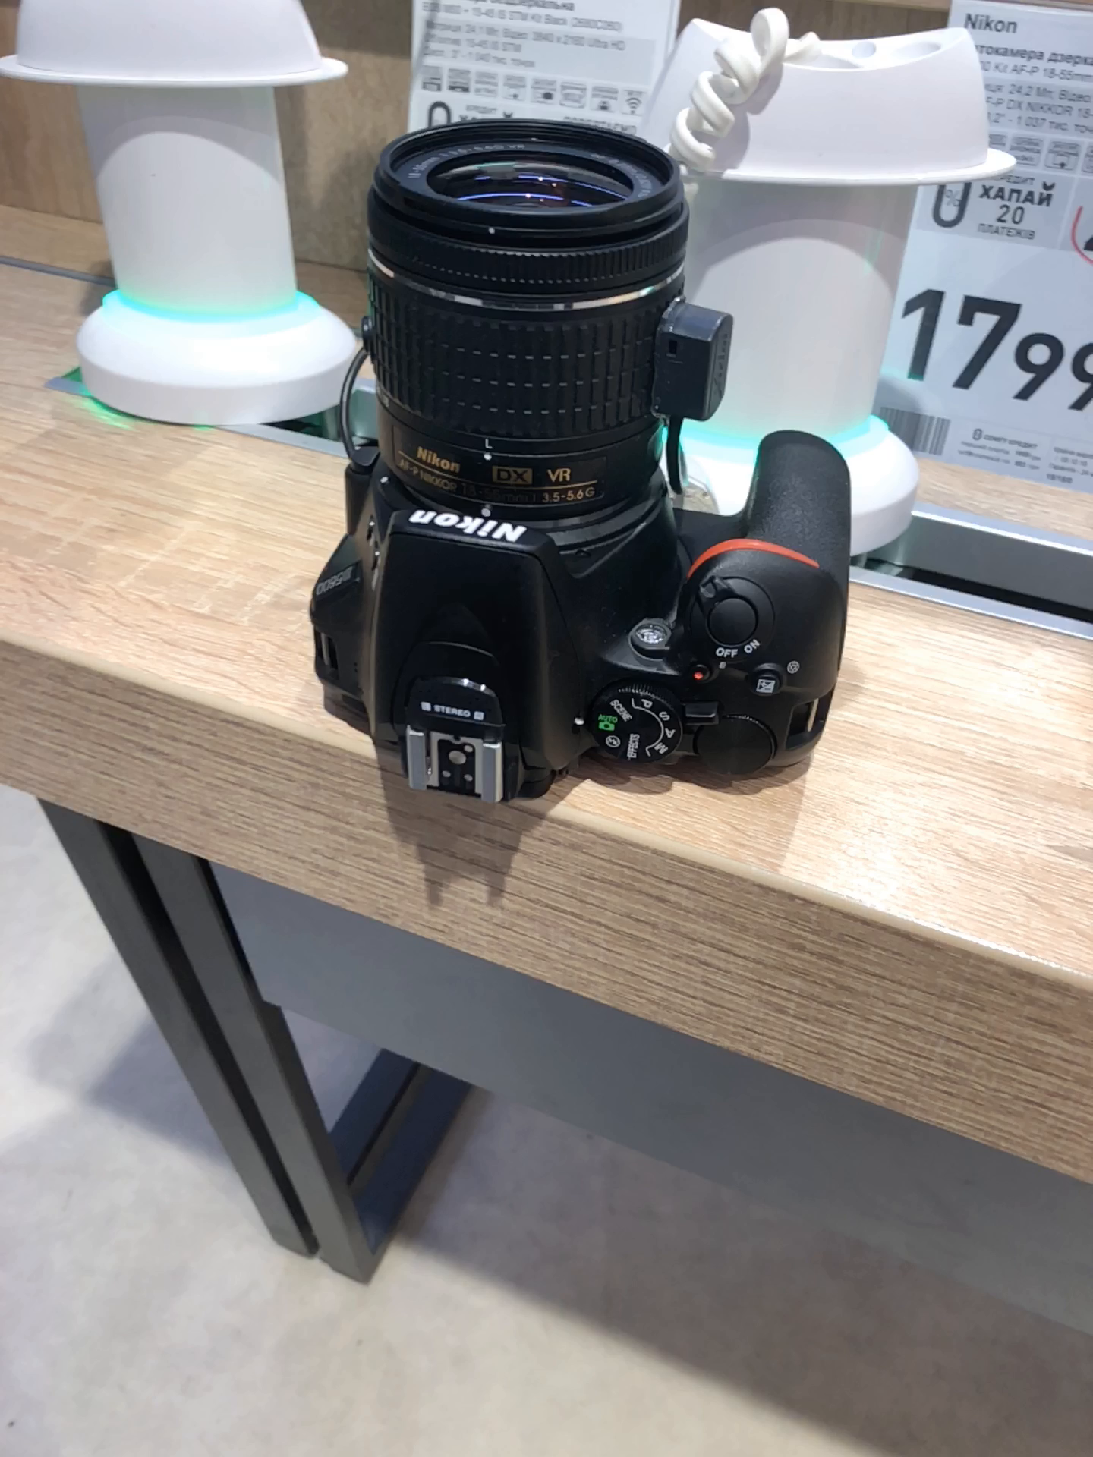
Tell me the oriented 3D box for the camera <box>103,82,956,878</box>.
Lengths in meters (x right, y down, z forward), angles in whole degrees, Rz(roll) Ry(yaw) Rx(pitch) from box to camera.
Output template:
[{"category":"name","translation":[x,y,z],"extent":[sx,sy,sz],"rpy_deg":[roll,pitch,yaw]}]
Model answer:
[{"category":"camera","translation":[0.004,-0.058,0.265],"extent":[0.132,0.117,0.116],"rpy_deg":[7,42,7]}]
